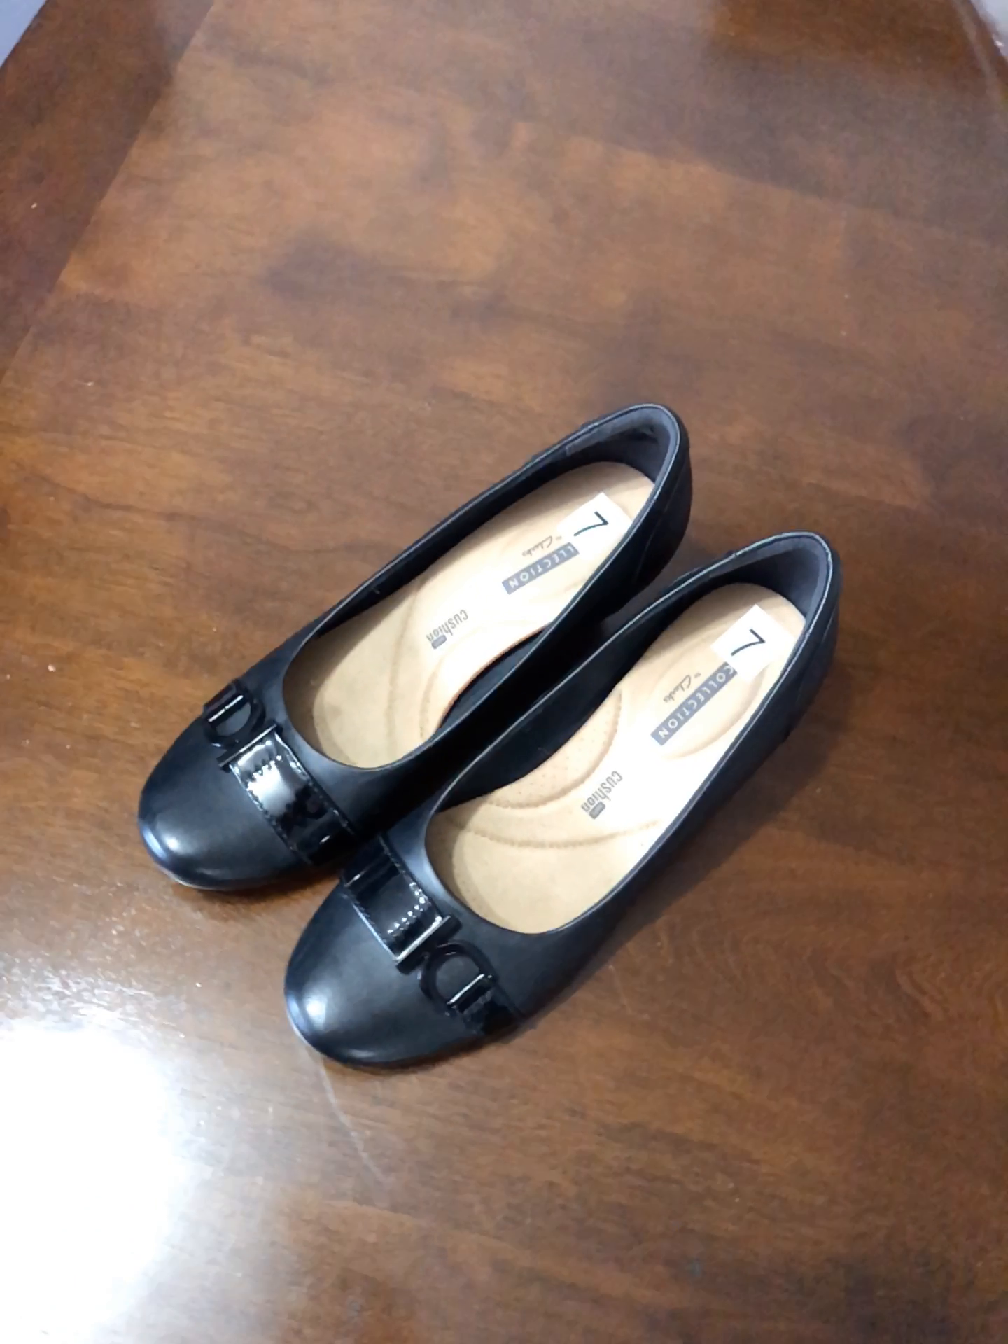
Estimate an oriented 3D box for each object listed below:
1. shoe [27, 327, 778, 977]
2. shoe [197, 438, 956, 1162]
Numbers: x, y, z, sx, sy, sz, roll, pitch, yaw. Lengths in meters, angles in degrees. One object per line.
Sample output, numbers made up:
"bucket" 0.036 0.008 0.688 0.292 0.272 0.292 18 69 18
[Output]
"shoe" -0.029 -0.010 0.426 0.250 0.110 0.090 -35 73 -21
"shoe" 0.029 0.042 0.398 0.250 0.110 0.090 -39 75 -22
